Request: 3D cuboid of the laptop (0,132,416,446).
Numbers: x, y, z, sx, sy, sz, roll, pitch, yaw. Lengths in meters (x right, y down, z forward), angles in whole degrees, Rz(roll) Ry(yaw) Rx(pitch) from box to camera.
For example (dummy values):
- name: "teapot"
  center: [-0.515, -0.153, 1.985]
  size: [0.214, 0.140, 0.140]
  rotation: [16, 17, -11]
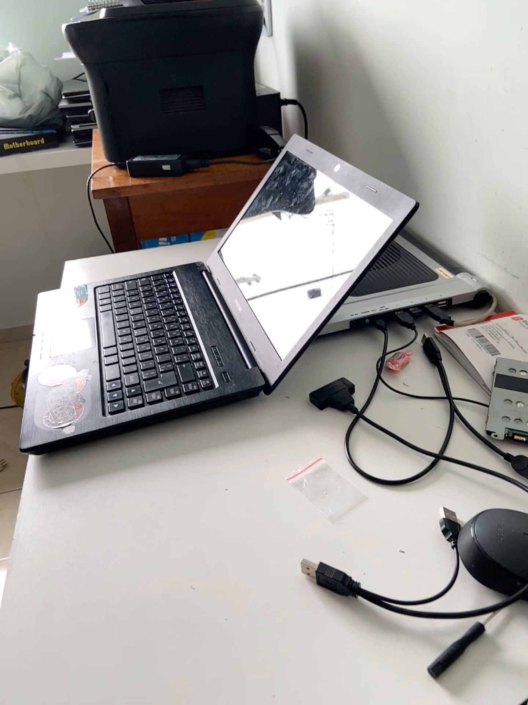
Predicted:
- name: "laptop"
  center: [-0.091, -0.112, 0.631]
  size: [0.393, 0.162, 0.336]
  rotation: [-13, 34, -11]
